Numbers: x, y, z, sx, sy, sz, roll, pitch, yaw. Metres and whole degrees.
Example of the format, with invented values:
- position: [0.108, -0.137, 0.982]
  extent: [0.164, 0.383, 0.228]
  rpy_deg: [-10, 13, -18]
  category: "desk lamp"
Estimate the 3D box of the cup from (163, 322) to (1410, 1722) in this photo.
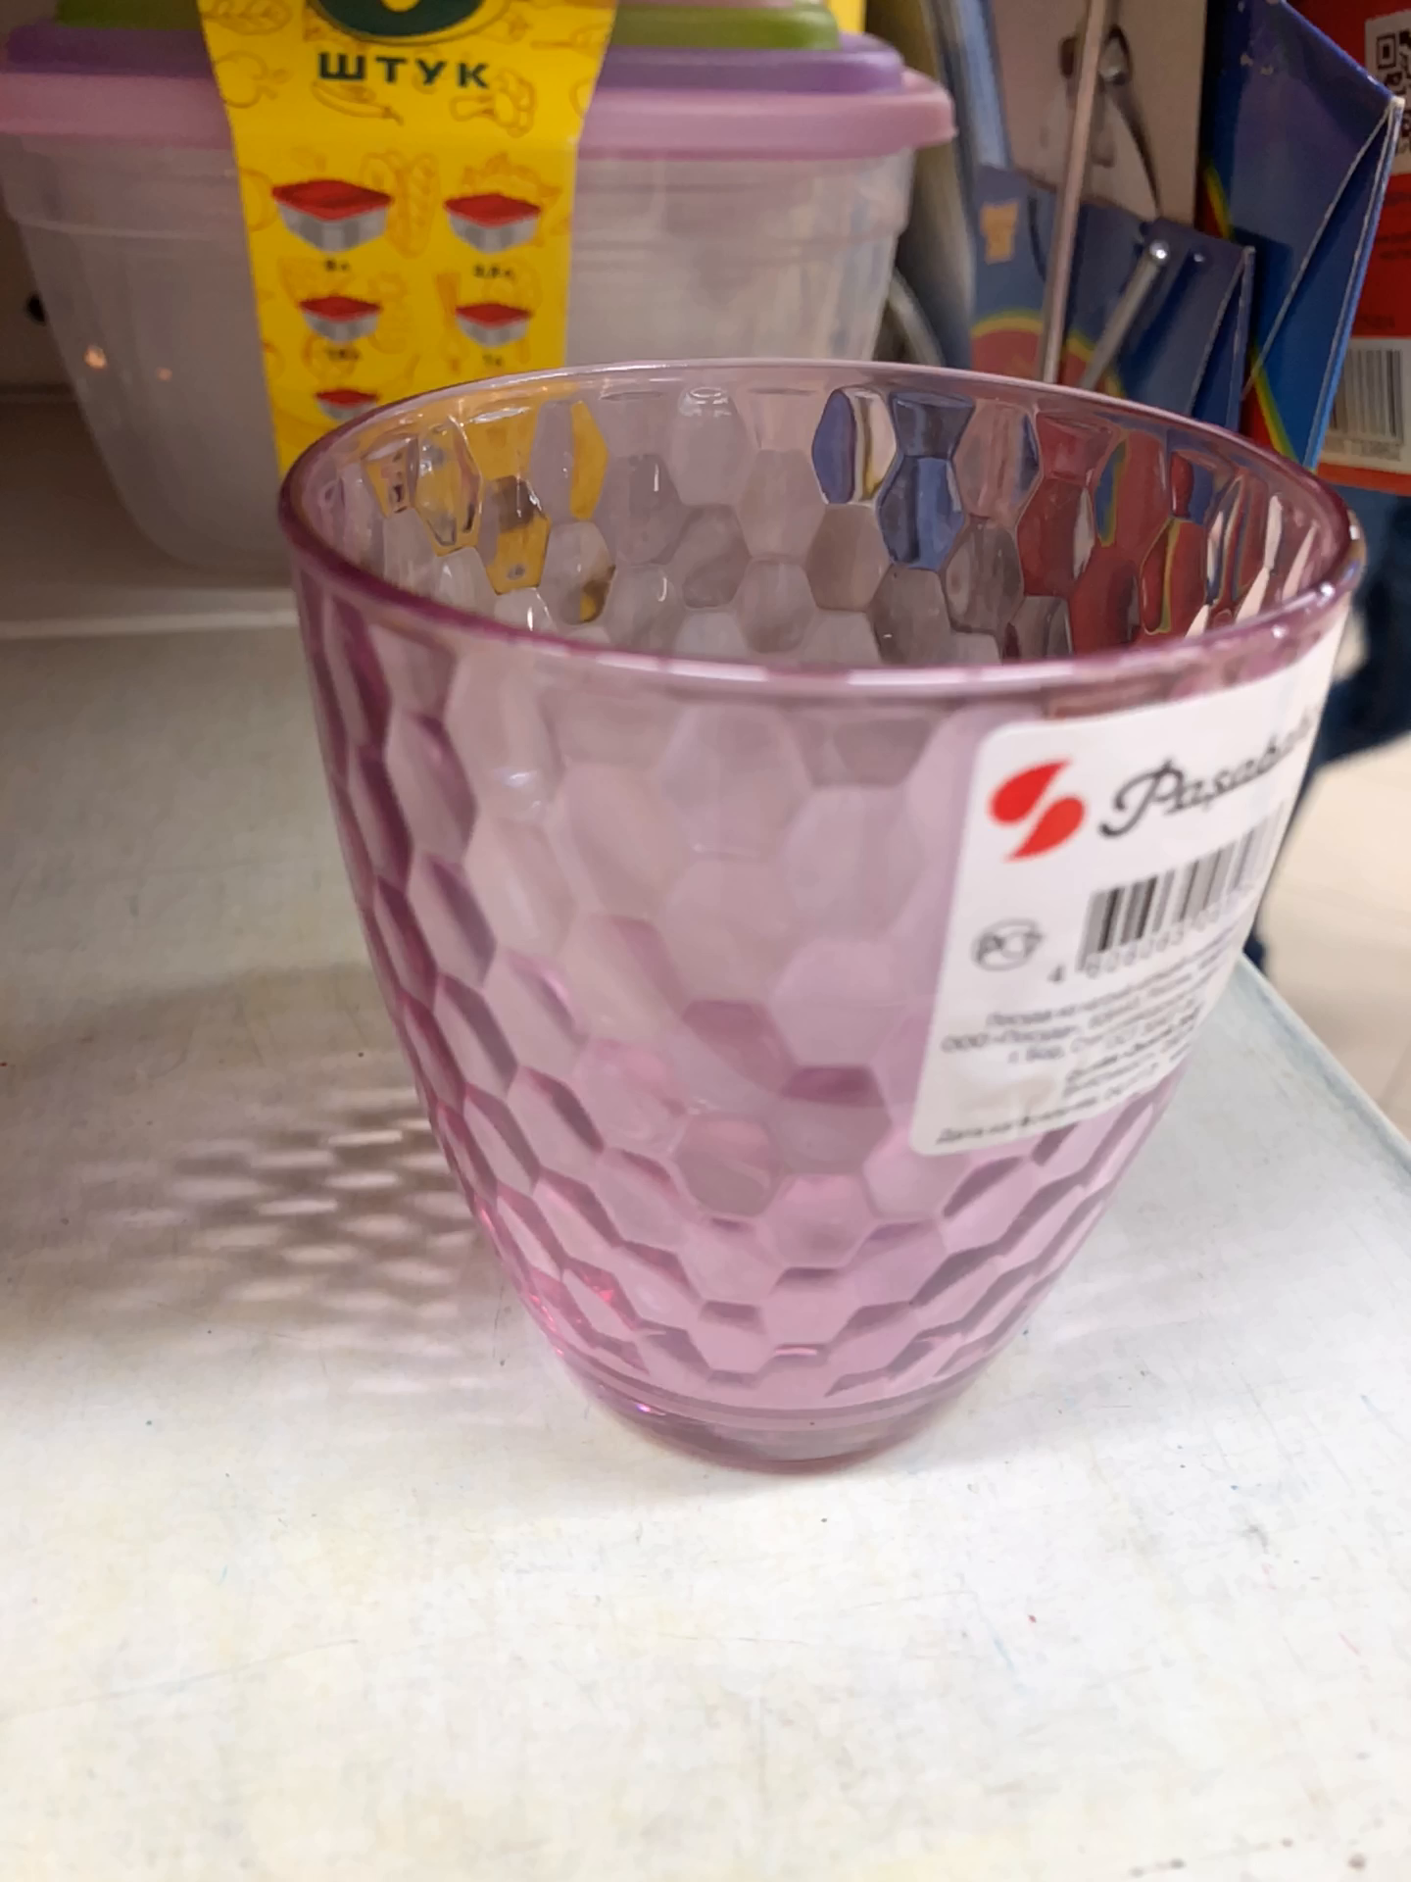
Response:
- position: [0.011, -0.005, 0.141]
  extent: [0.090, 0.074, 0.078]
  rpy_deg: [-14, 36, -24]
  category: "cup"
